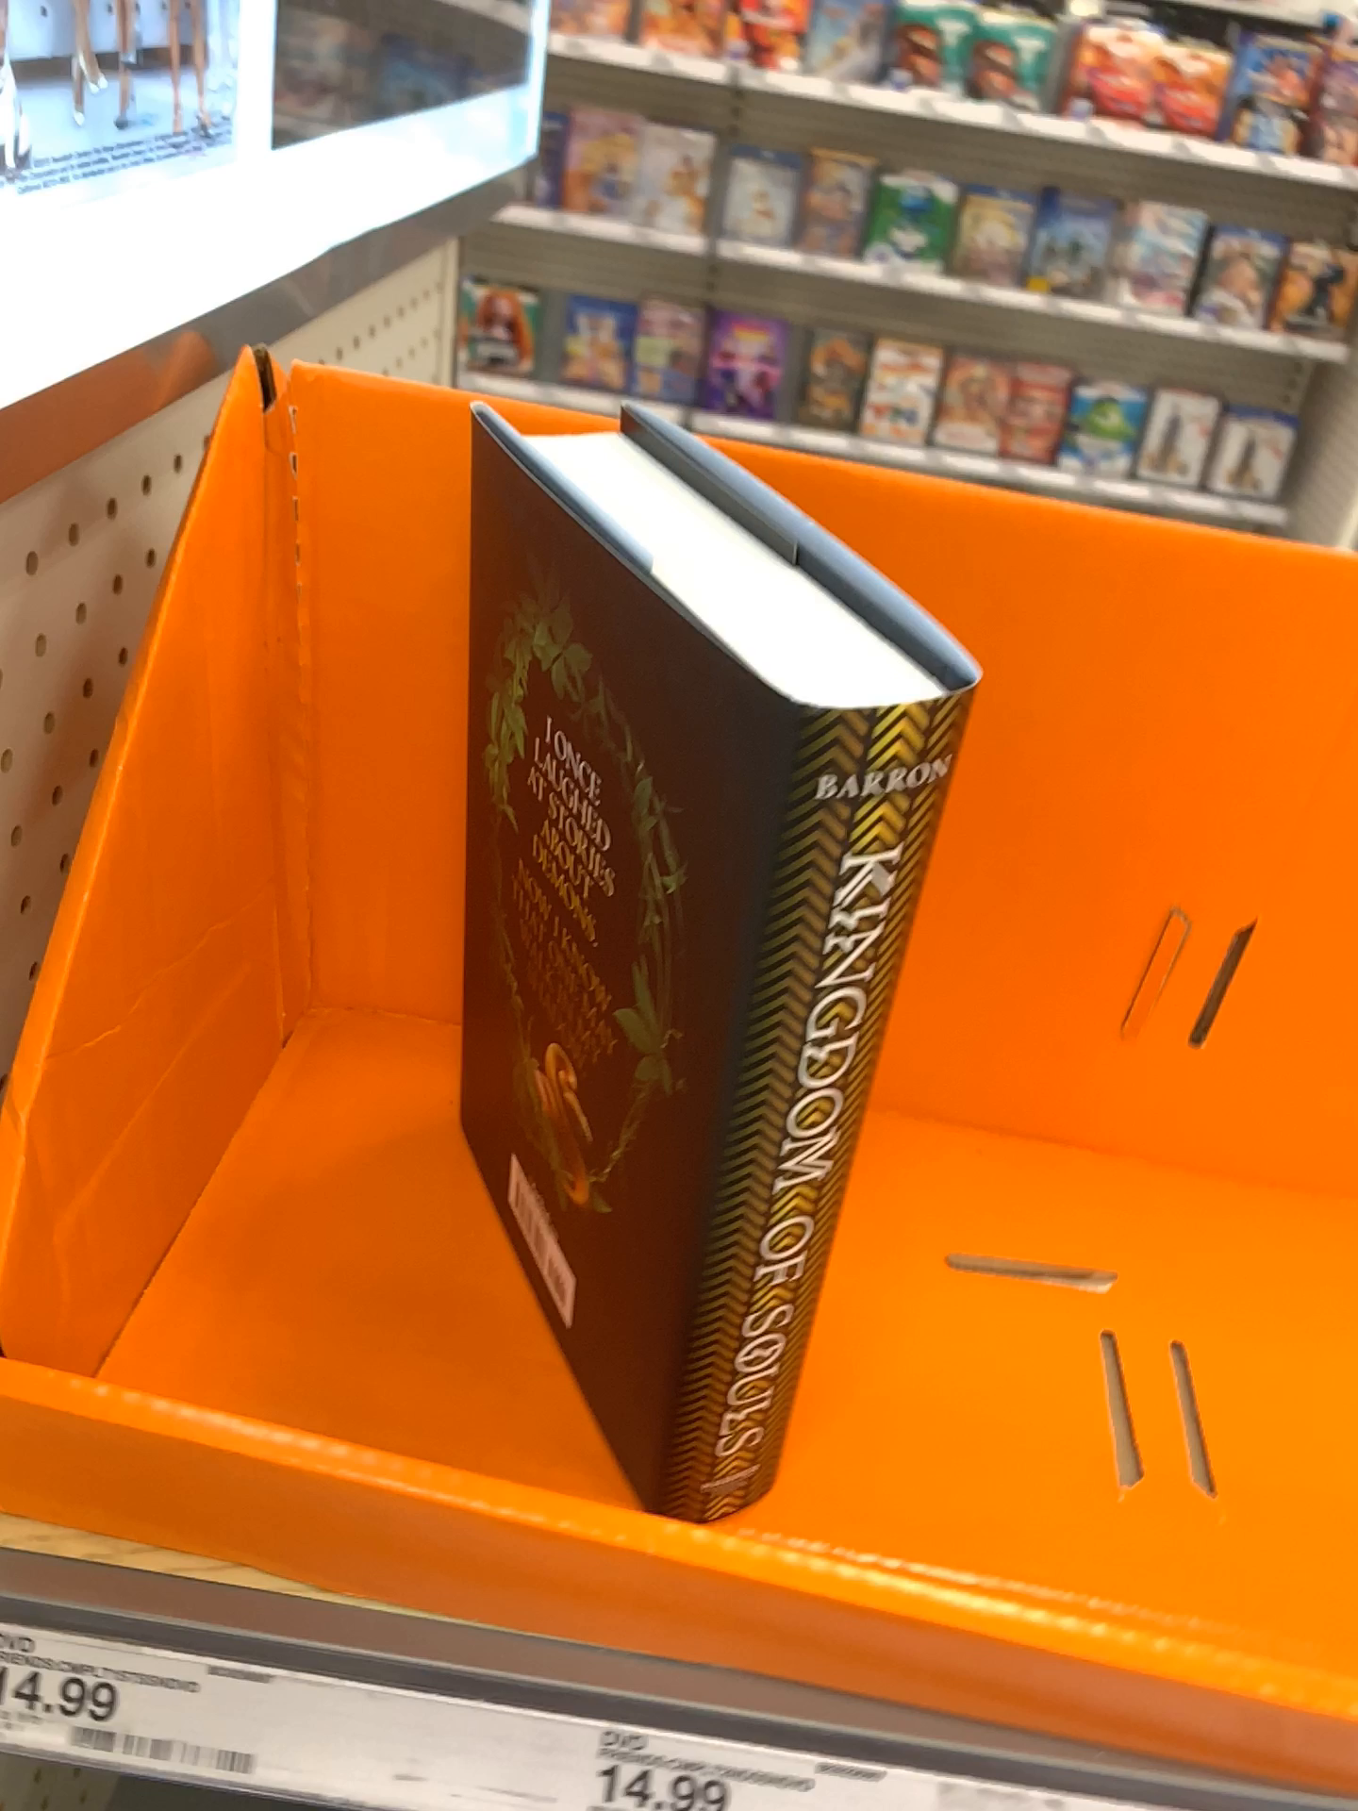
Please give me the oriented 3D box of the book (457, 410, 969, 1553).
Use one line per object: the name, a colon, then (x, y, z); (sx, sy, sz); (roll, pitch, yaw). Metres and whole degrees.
book: (-0.013, 0.021, 0.359); (0.040, 0.240, 0.161); (-11, 38, -23)
